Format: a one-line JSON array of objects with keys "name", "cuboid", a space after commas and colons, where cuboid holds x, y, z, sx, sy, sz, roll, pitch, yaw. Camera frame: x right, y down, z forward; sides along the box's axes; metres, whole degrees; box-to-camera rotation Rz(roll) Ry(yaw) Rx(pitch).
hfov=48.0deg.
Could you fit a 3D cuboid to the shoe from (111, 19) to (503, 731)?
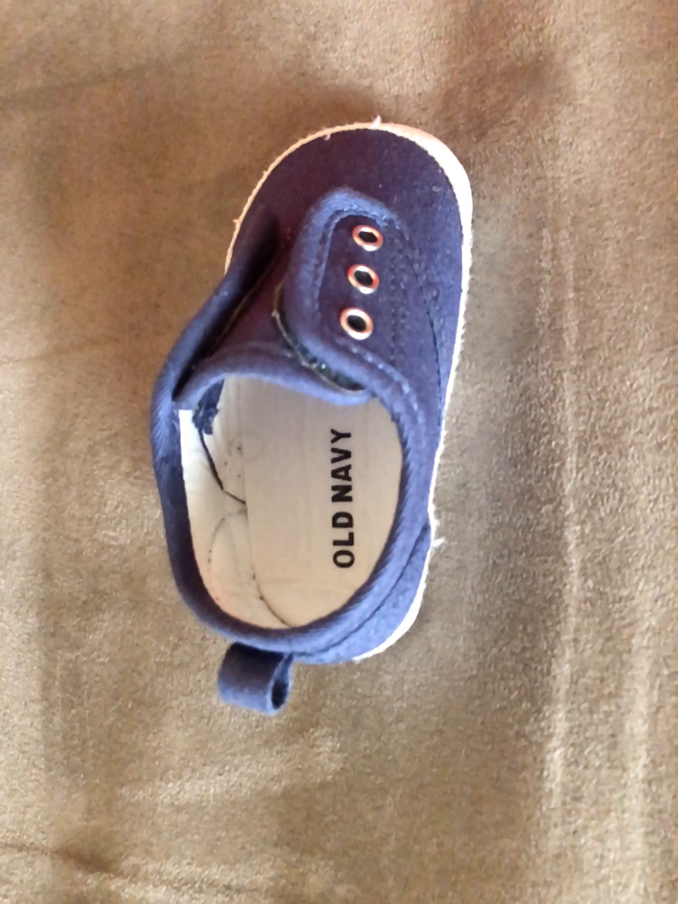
[{"name": "shoe", "cuboid": [-0.003, -0.012, 0.158, 0.060, 0.060, 0.110, 0, 90, 26]}]
